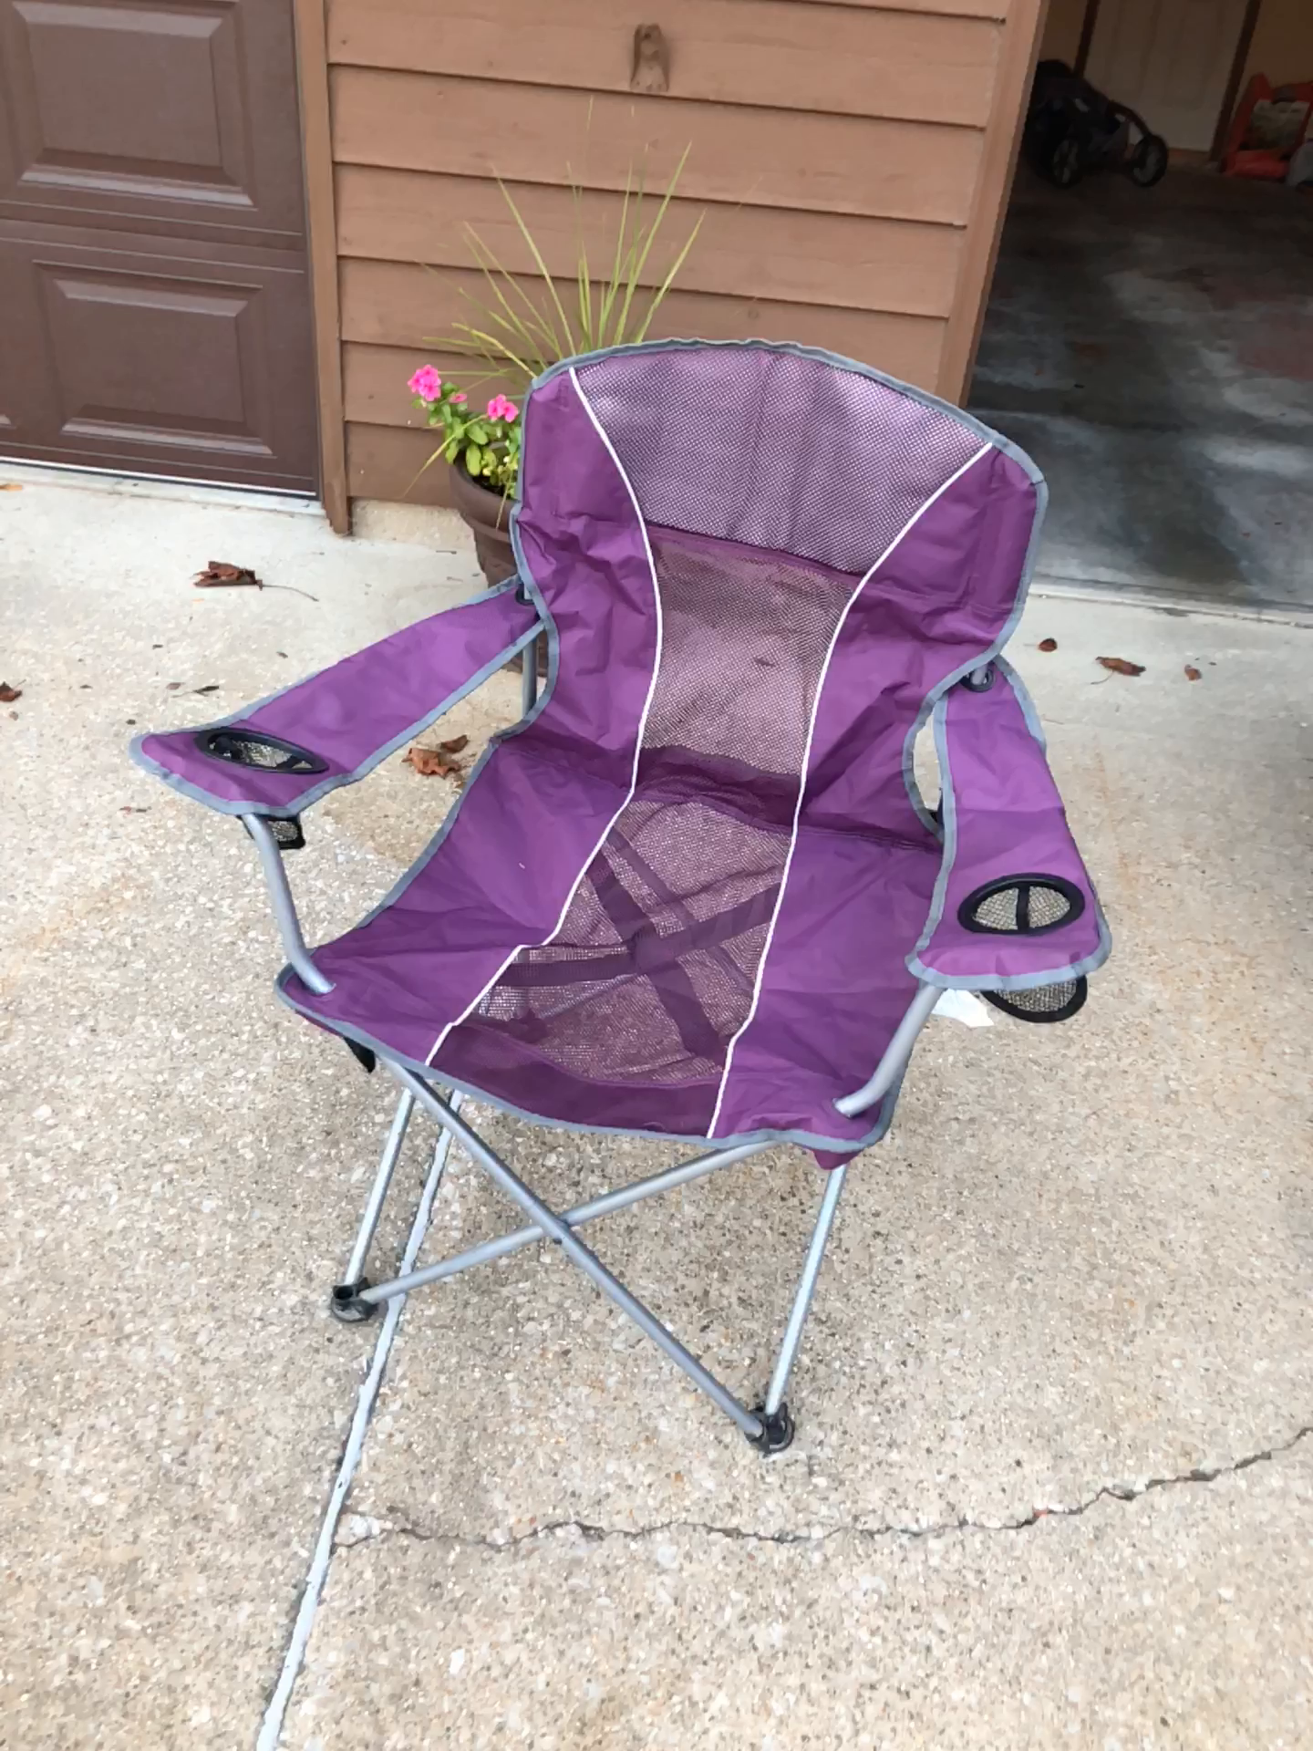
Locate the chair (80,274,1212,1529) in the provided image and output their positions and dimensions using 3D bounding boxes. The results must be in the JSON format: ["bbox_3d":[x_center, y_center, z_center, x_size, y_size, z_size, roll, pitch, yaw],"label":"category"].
[{"bbox_3d":[0.032,-0.023,1.455,0.760,0.878,0.712,13,35,11],"label":"chair"}]
